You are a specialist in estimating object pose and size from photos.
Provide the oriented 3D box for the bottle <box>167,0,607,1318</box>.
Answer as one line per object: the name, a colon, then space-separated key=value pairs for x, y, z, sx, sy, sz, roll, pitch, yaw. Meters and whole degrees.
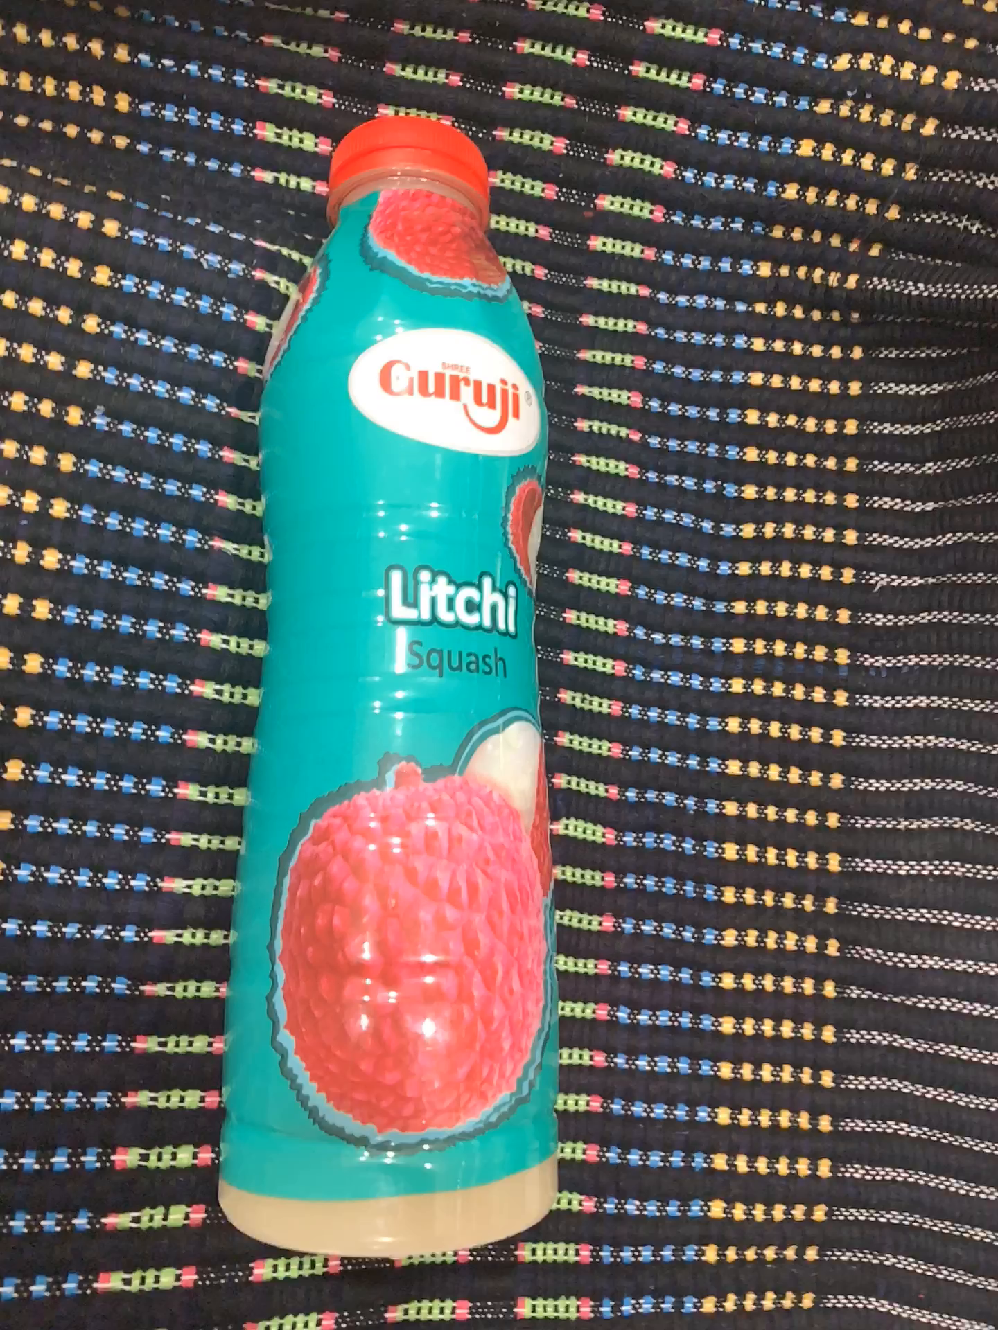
bottle: x=-0.034 y=-0.014 z=0.257 sx=0.070 sy=0.080 sz=0.280 roll=5 pitch=74 yaw=-27
